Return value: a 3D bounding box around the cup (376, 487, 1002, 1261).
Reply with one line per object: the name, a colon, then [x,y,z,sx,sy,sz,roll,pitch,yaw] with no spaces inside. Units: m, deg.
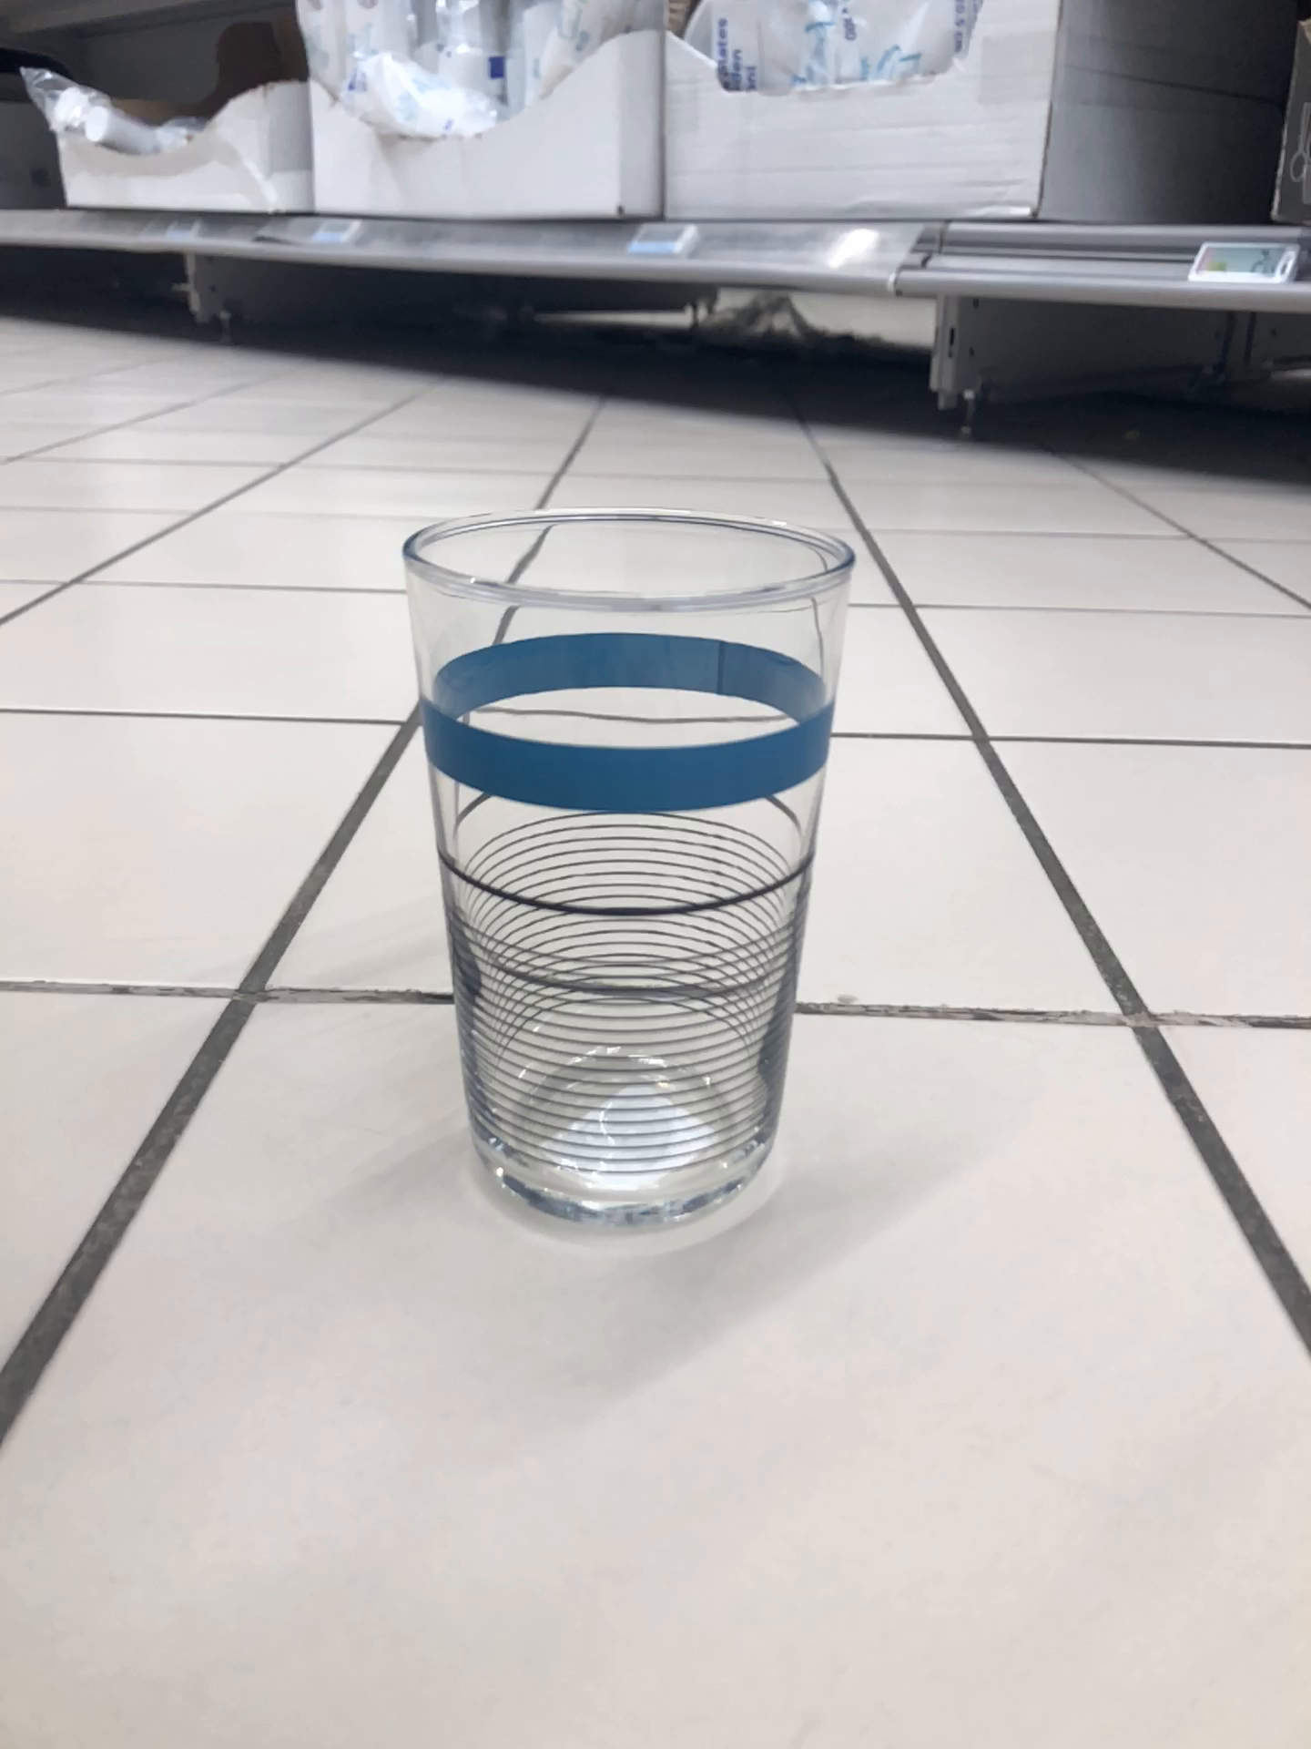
cup: [0.005,-0.005,0.239,0.079,0.102,0.080,1,22,0]
